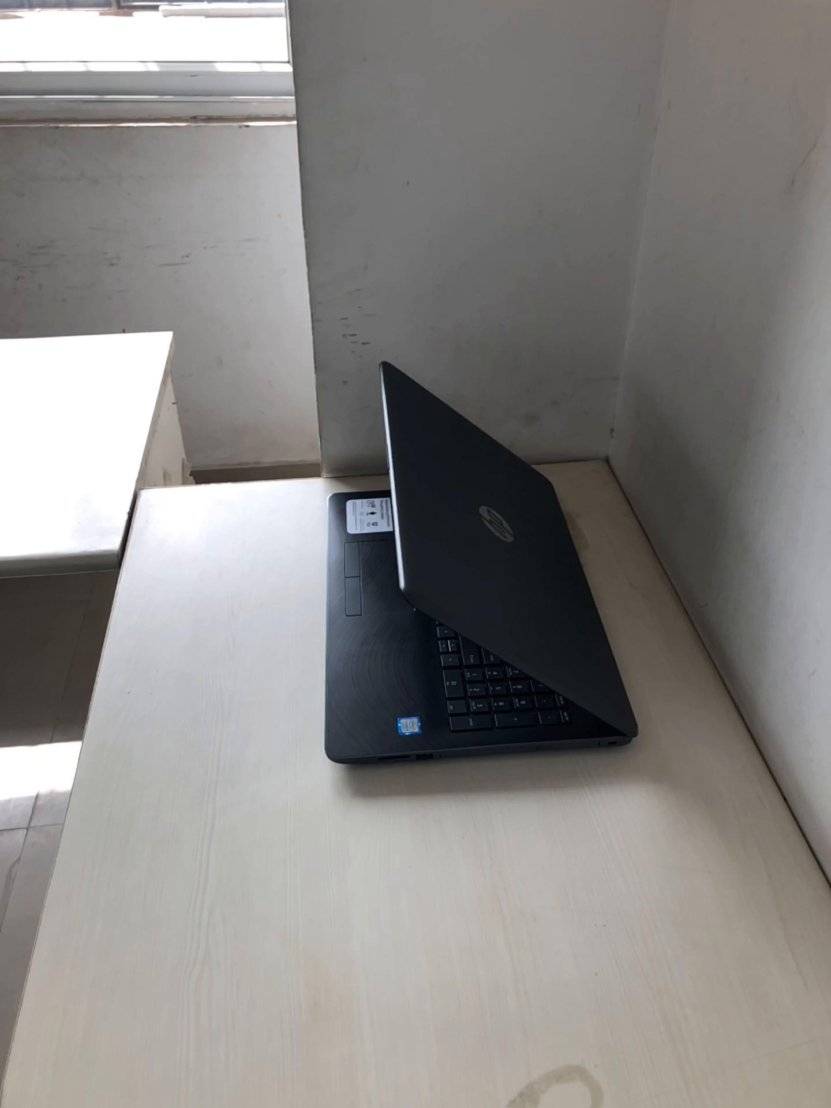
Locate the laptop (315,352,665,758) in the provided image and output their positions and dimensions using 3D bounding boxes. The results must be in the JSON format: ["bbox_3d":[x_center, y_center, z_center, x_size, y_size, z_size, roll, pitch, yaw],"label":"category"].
[{"bbox_3d":[0.039,-0.022,0.815,0.244,0.156,0.358,-2,39,-5],"label":"laptop"}]
